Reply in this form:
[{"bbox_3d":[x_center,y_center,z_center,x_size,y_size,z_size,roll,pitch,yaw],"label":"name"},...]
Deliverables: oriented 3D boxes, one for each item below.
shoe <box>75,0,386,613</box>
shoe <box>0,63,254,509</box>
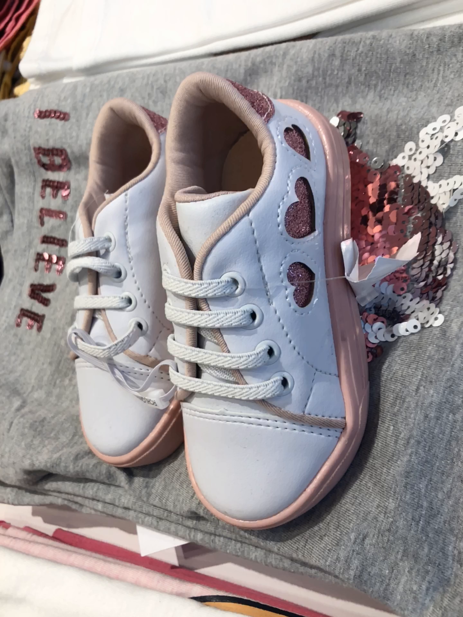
[{"bbox_3d":[0.006,-0.003,0.171,0.070,0.070,0.150,0,83,28],"label":"shoe"},{"bbox_3d":[-0.045,-0.009,0.222,0.070,0.070,0.150,6,90,29],"label":"shoe"}]
